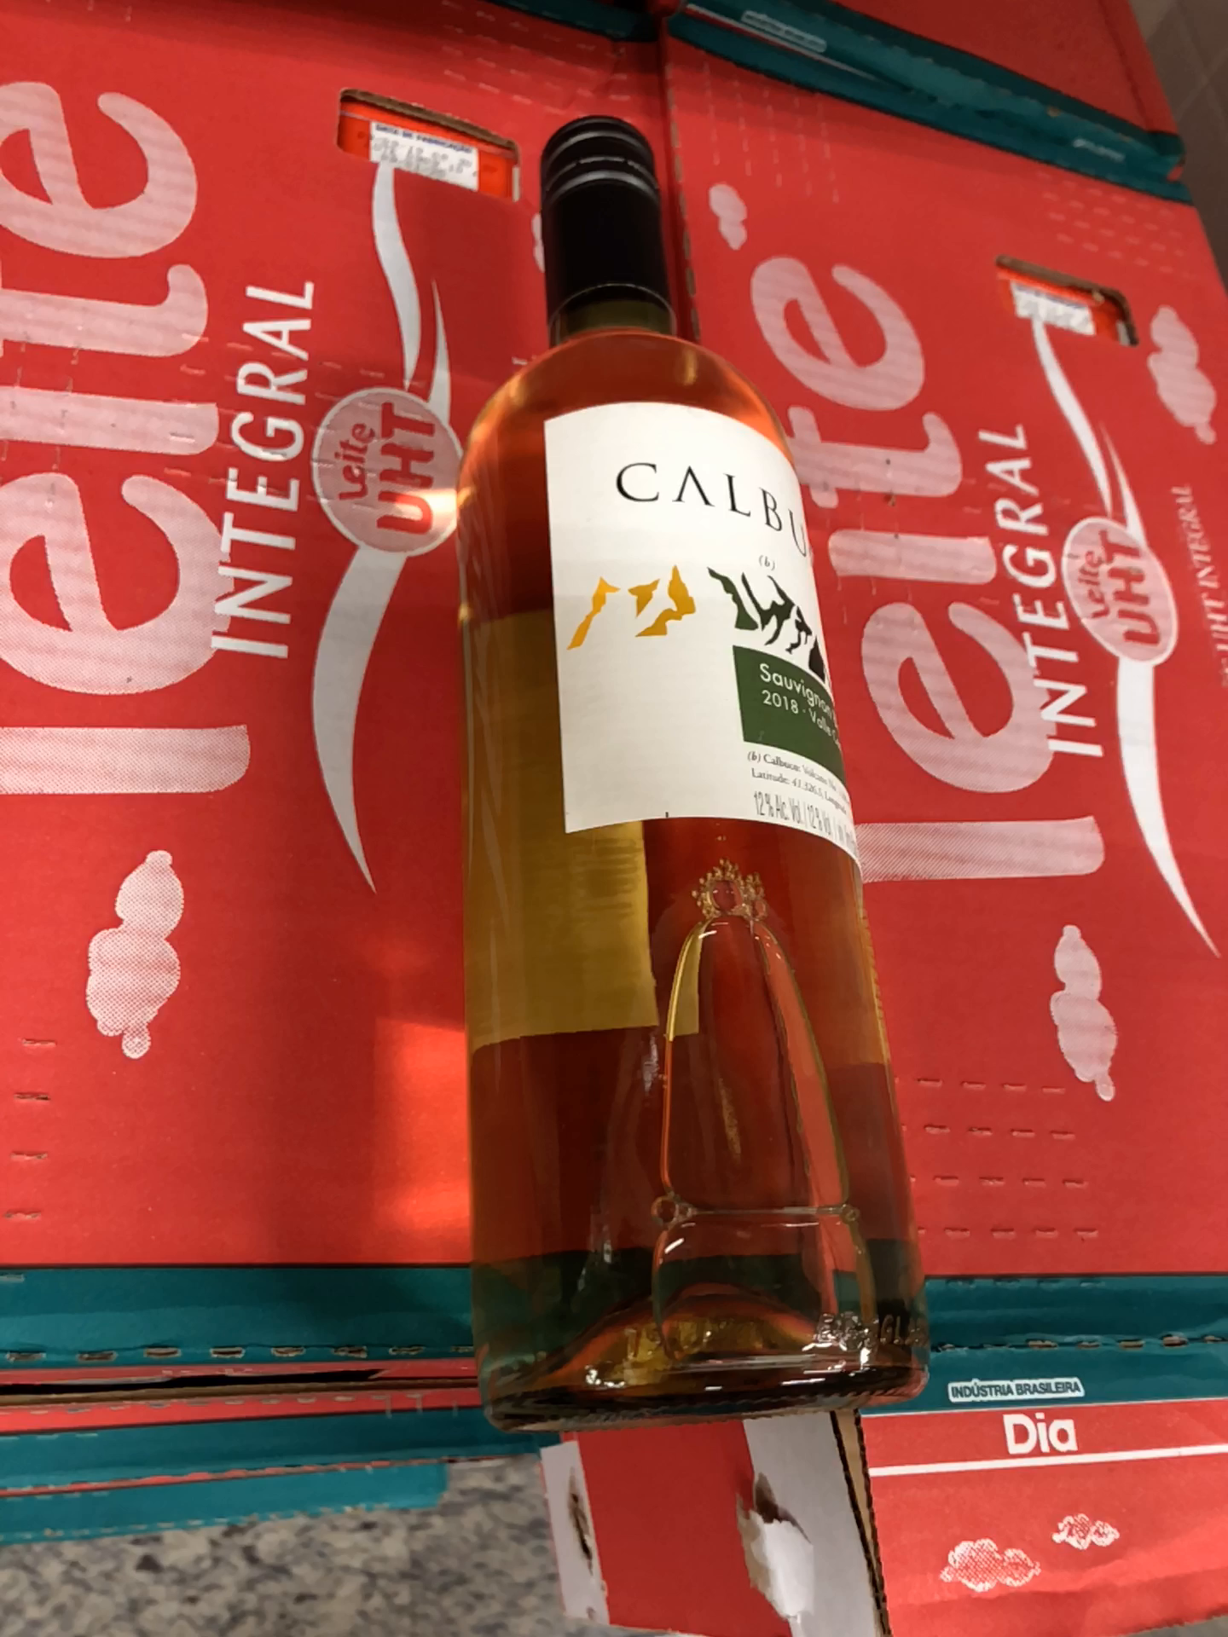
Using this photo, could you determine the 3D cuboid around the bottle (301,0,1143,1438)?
[{"bbox_3d":[0.012,-0.040,0.273,0.090,0.100,0.291,27,52,-49],"label":"bottle"}]
